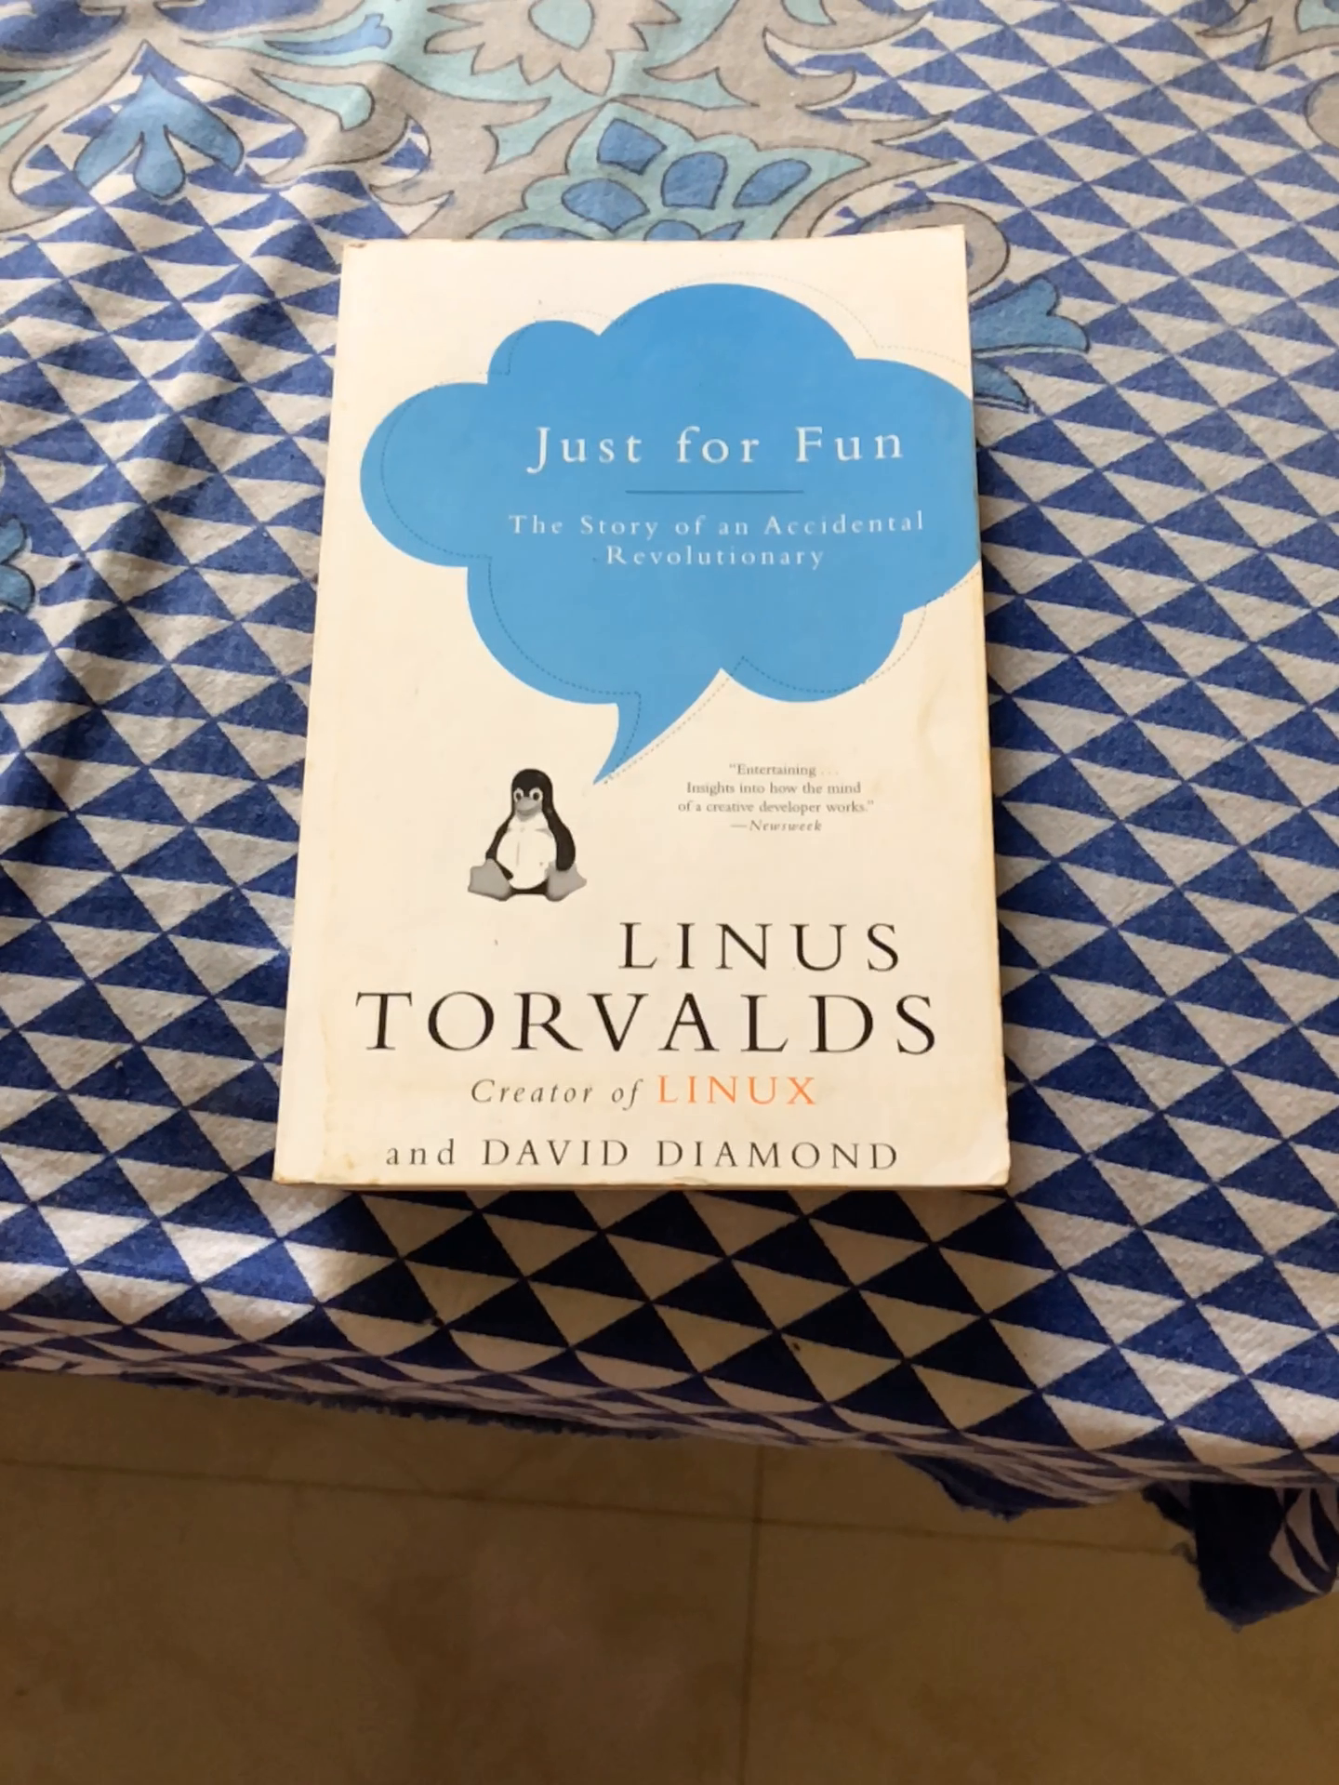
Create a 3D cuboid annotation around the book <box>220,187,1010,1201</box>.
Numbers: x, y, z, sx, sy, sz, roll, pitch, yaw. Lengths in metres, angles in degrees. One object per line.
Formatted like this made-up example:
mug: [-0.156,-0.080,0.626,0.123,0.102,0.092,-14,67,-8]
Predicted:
book: [-0.009,-0.045,0.306,0.140,0.030,0.210,0,75,1]
